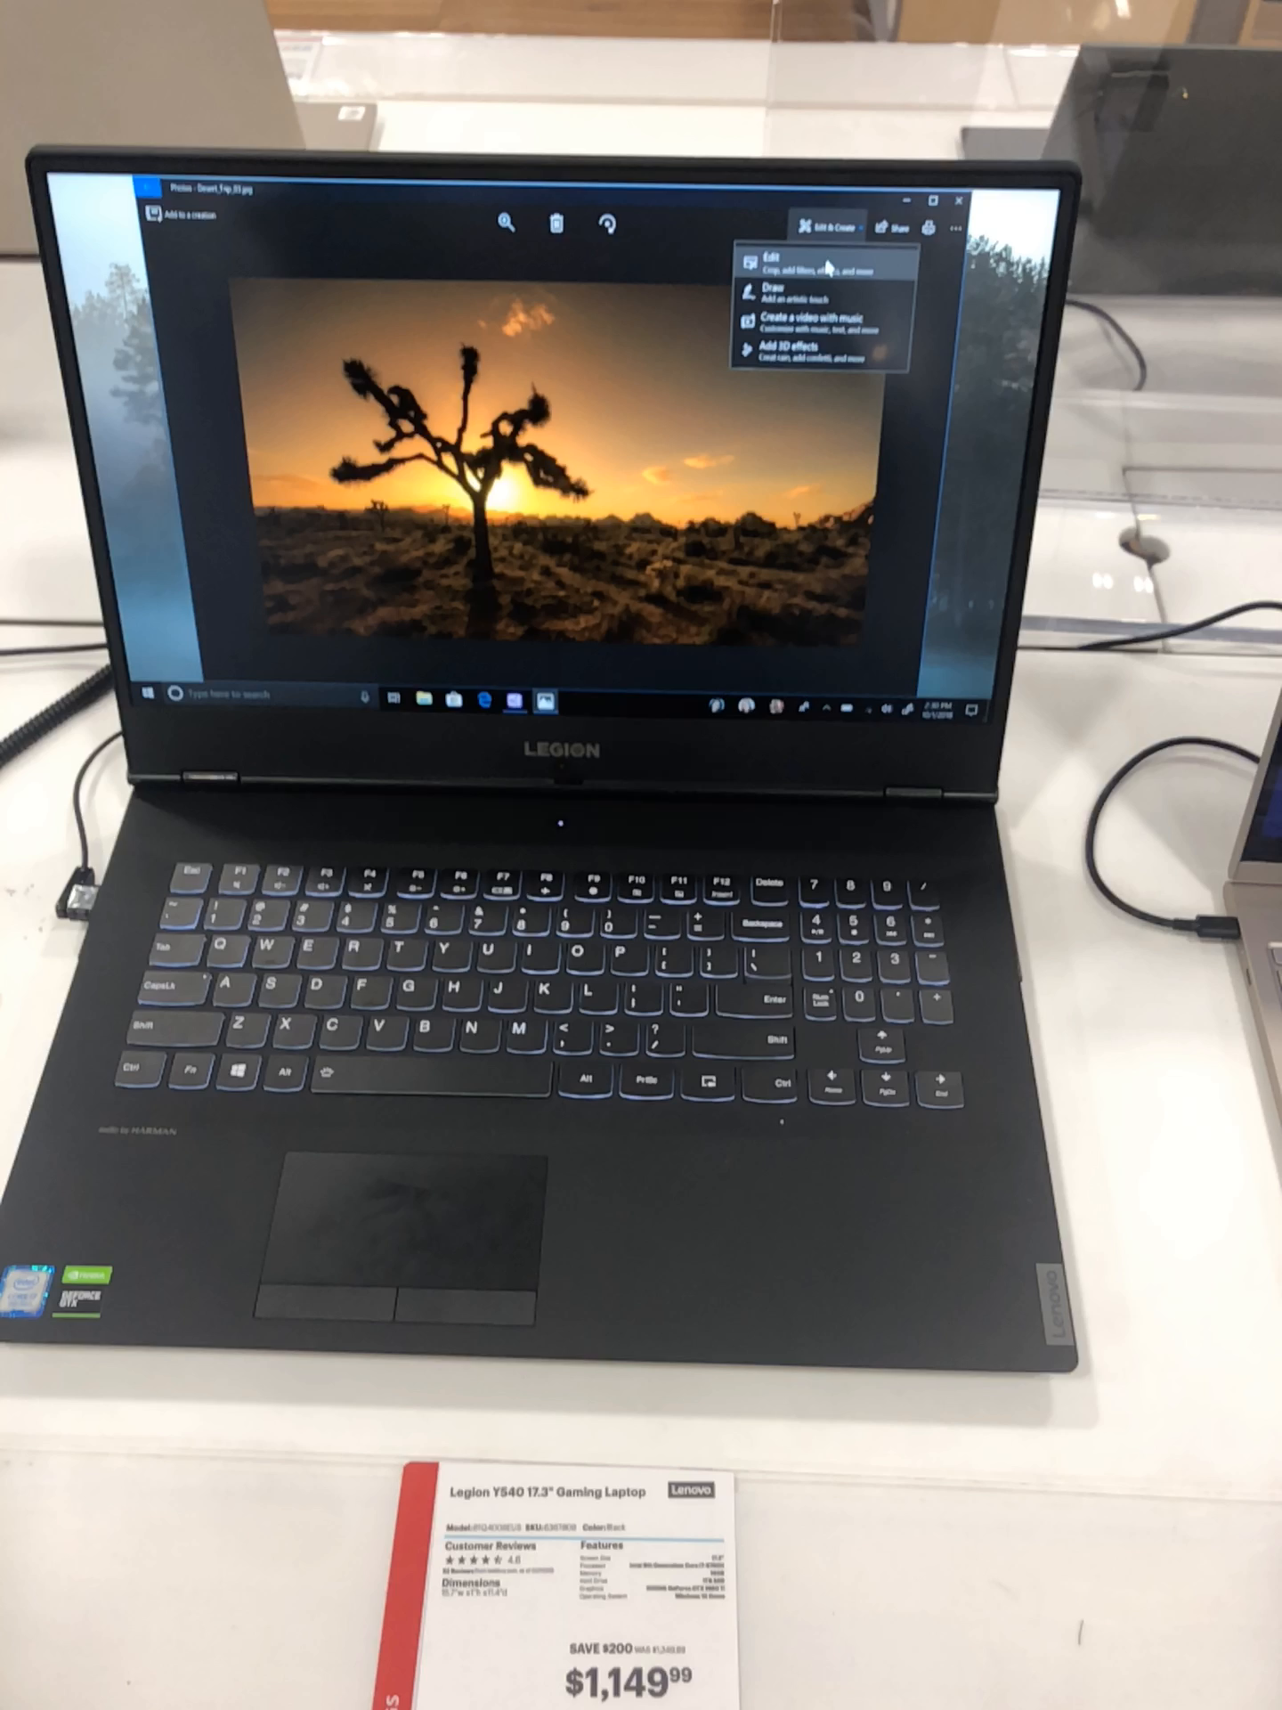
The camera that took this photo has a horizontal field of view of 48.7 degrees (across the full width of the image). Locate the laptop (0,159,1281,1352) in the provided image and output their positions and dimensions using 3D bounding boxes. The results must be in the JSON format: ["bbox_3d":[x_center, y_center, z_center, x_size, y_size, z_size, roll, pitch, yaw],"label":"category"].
[{"bbox_3d":[-0.037,-0.043,0.520,0.382,0.241,0.358,1,51,-1],"label":"laptop"}]
